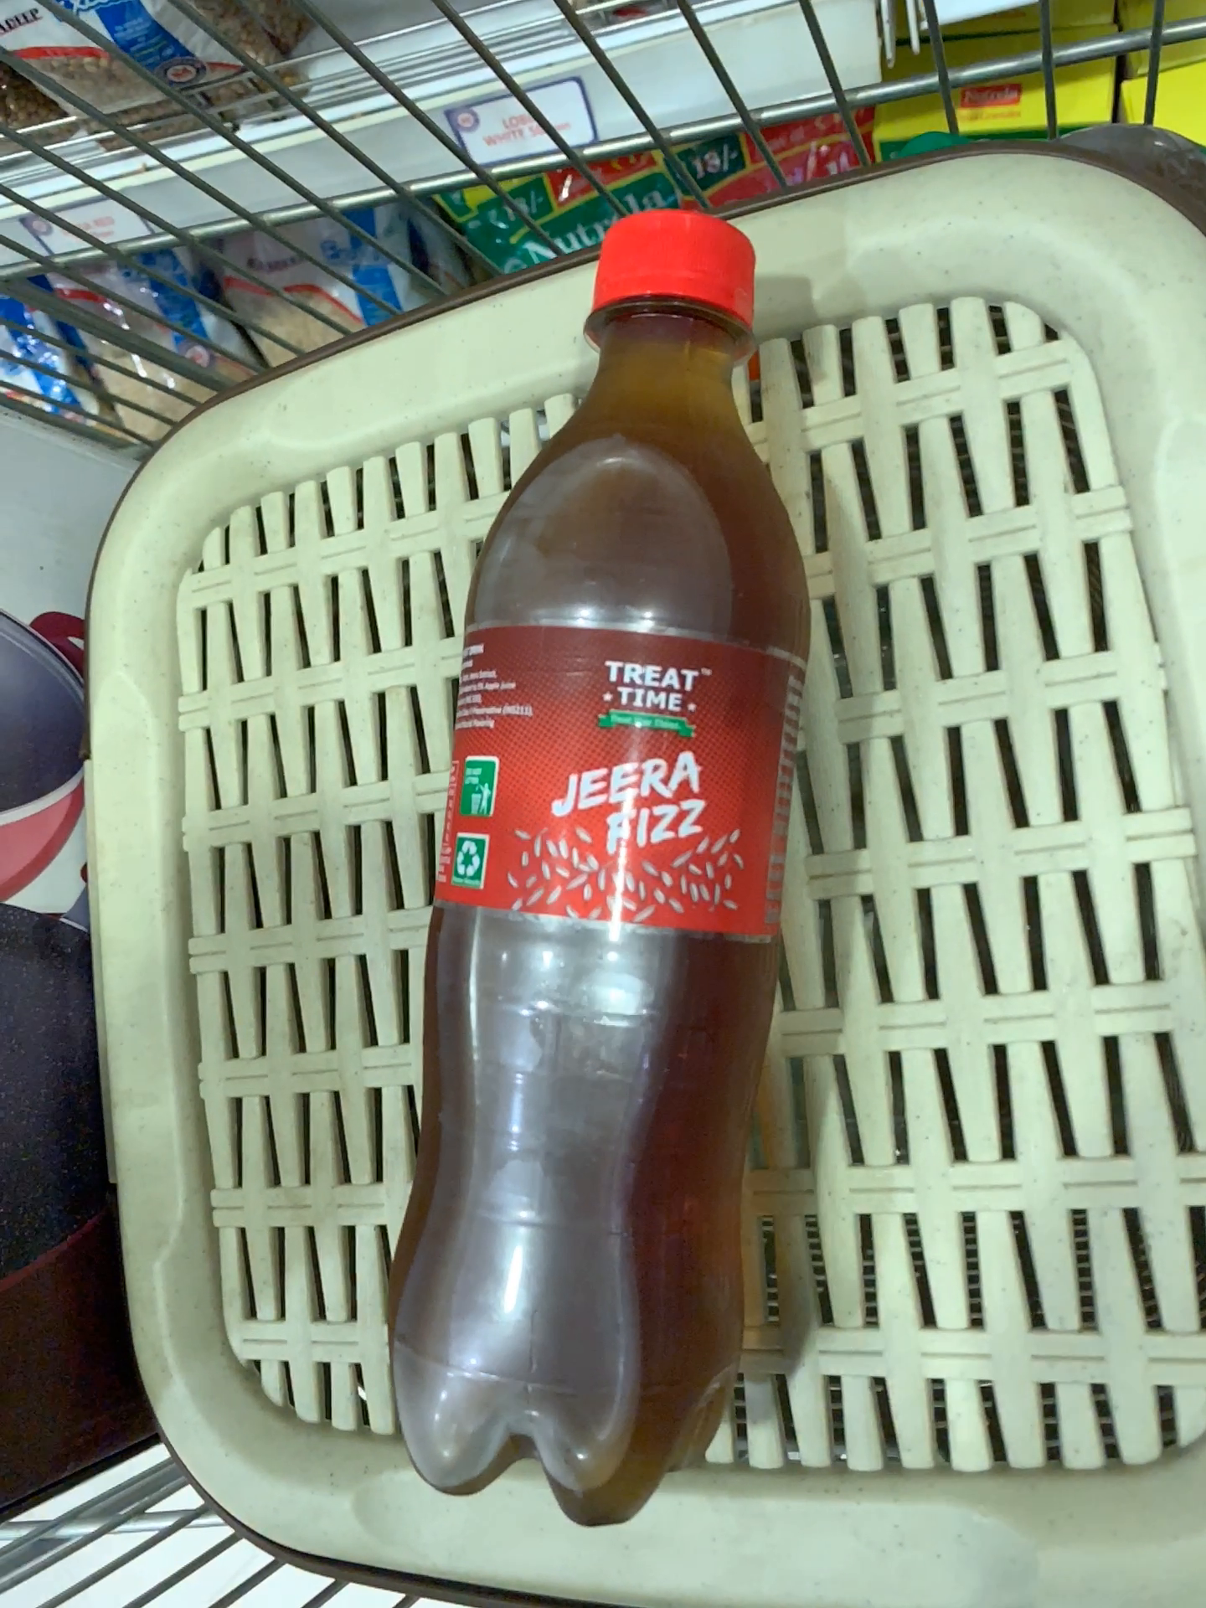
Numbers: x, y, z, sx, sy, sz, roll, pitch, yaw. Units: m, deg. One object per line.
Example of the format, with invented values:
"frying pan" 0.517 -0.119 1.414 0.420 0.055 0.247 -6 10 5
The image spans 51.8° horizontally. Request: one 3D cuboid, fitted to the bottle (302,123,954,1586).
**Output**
"bottle" 0.005 0.007 0.237 0.080 0.070 0.230 7 86 -2
